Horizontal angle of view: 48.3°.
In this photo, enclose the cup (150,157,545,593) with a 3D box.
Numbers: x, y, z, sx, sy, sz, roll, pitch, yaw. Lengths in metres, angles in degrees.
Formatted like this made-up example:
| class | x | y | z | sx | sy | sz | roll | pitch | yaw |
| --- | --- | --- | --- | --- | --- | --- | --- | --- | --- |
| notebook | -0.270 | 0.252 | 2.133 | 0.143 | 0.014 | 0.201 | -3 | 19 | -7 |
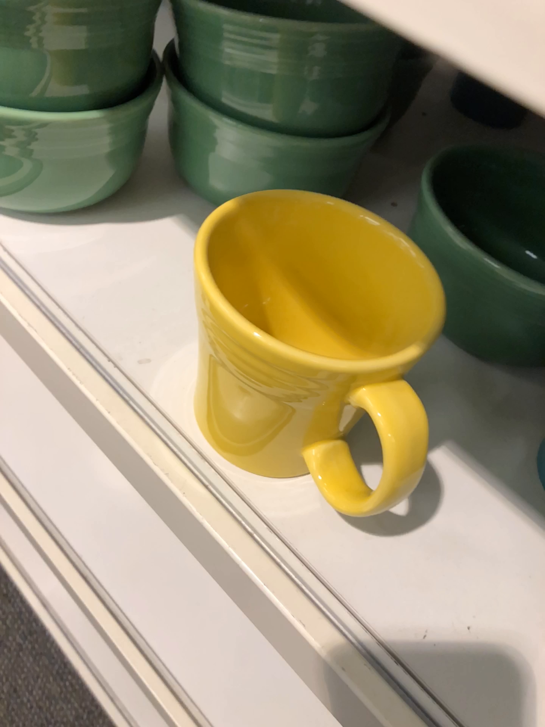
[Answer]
| class | x | y | z | sx | sy | sz | roll | pitch | yaw |
| --- | --- | --- | --- | --- | --- | --- | --- | --- | --- |
| cup | 0.026 | 0.000 | 0.271 | 0.097 | 0.100 | 0.137 | -26 | 62 | -31 |
